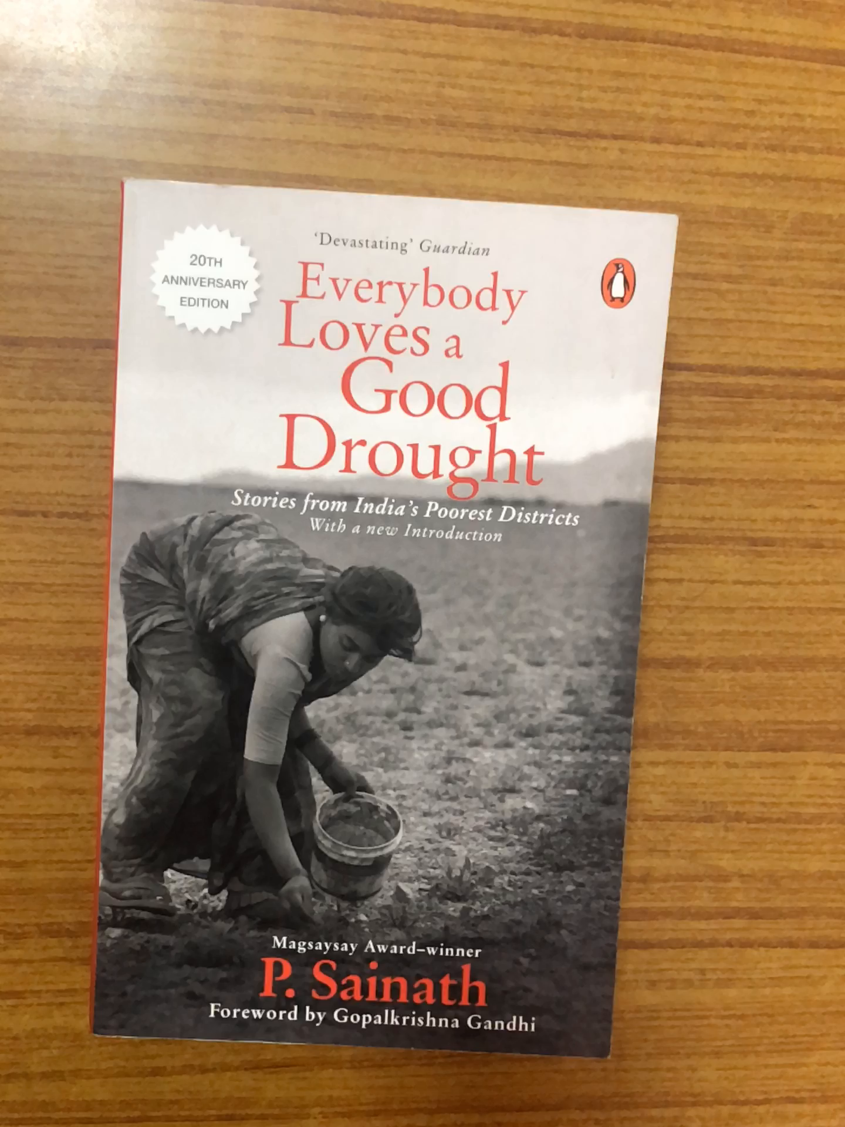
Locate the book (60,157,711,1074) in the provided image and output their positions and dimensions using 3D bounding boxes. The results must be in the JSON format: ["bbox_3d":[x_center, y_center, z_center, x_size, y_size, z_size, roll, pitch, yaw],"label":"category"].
[{"bbox_3d":[-0.011,0.018,0.242,0.140,0.040,0.210,3,95,-6],"label":"book"}]
